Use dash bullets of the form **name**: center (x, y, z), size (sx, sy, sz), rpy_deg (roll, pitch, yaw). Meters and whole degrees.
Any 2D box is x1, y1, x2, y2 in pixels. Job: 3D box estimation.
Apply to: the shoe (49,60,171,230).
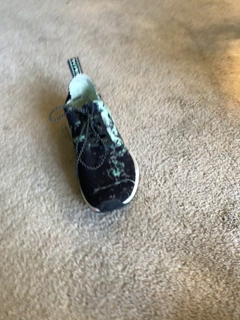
- **shoe**: center (-0.033, -0.046, 0.459), size (0.131, 0.100, 0.288), rpy_deg (-13, 51, -8)
